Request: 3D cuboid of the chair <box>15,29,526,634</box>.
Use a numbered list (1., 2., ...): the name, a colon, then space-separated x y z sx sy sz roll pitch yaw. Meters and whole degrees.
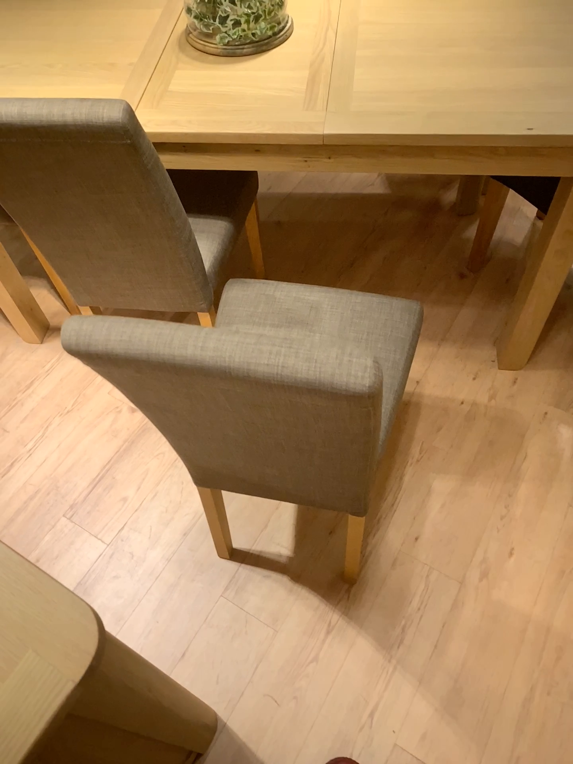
1. chair: 0.061 -0.007 1.098 0.490 0.952 0.615 8 55 10
